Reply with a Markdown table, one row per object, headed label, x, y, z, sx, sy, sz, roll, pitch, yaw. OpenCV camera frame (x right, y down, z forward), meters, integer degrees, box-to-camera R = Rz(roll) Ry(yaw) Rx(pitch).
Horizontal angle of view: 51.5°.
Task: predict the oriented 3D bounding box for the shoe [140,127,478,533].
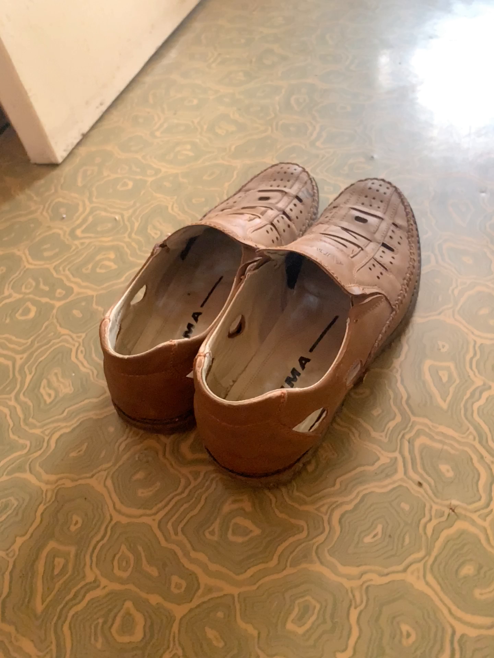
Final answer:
| label | x | y | z | sx | sy | sz | roll | pitch | yaw |
| --- | --- | --- | --- | --- | --- | --- | --- | --- | --- |
| shoe | 0.063 | -0.026 | 0.366 | 0.110 | 0.079 | 0.291 | 19 | 56 | 23 |

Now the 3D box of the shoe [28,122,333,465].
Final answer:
| label | x | y | z | sx | sy | sz | roll | pitch | yaw |
| --- | --- | --- | --- | --- | --- | --- | --- | --- | --- |
| shoe | -0.027 | -0.052 | 0.415 | 0.100 | 0.079 | 0.291 | 16 | 54 | 21 |
